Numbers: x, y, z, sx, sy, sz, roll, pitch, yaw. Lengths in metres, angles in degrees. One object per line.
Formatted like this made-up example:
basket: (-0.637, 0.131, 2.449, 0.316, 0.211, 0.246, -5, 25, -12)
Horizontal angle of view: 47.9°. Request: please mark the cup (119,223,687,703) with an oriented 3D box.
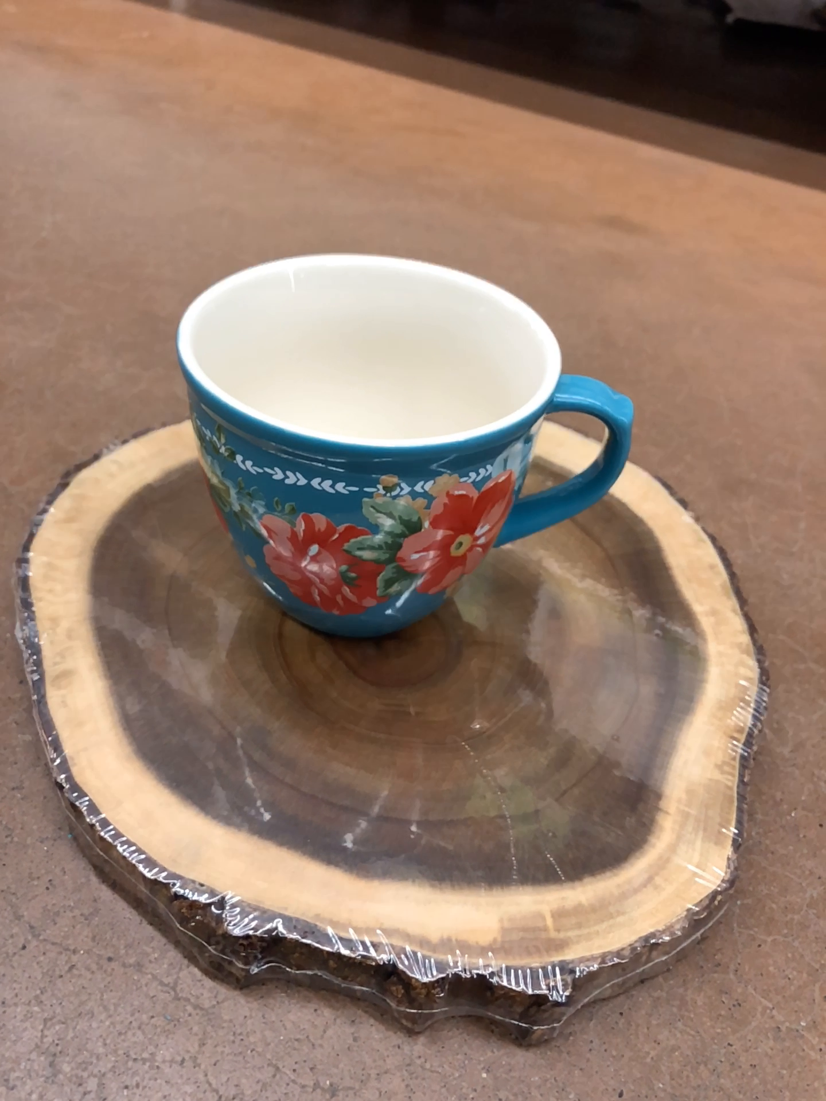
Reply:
cup: (0.000, -0.030, 0.274, 0.130, 0.080, 0.100, 9, 41, 3)
